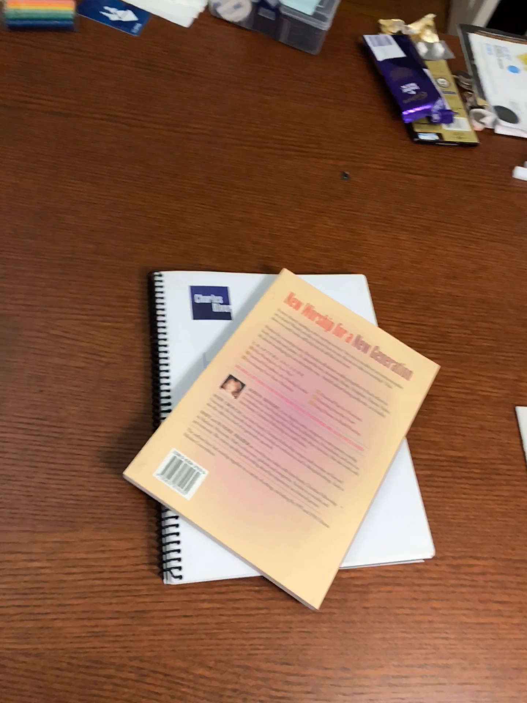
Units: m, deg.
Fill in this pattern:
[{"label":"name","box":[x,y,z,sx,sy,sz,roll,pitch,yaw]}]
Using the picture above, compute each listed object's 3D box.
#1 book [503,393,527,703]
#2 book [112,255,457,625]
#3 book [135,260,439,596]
[{"label":"book","box":[0.330,0.170,0.508,0.200,0.010,0.271,6,61,-10]},{"label":"book","box":[0.032,0.054,0.493,0.190,0.020,0.261,33,60,6]},{"label":"book","box":[0.008,0.044,0.513,0.230,0.020,0.291,-2,62,-13]}]
